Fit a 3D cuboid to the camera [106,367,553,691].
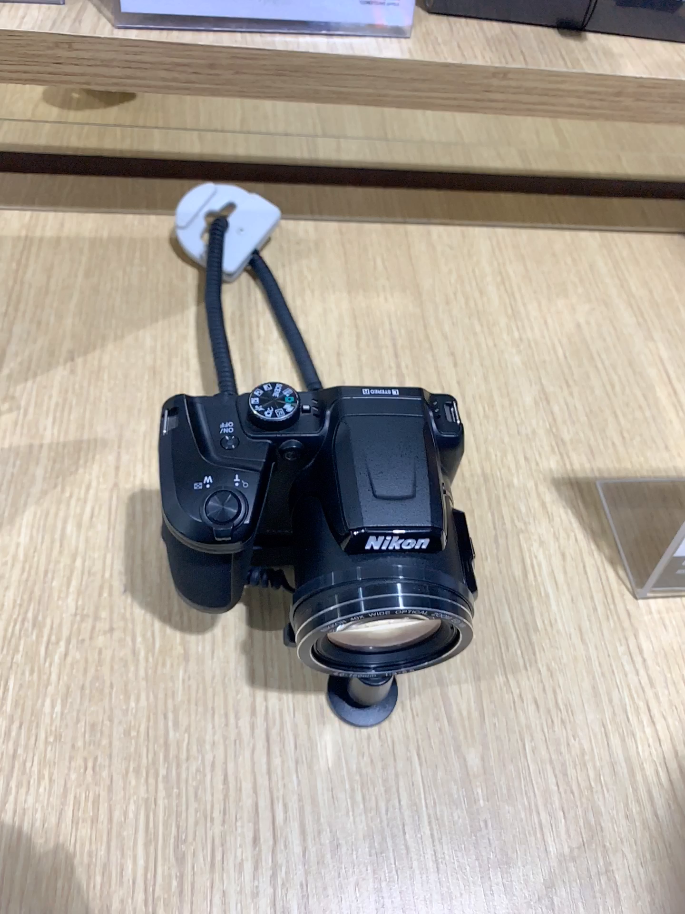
[{"bbox_3d":[-0.009,0.024,0.240,0.120,0.070,0.080,-1,55,-9],"label":"camera"}]
